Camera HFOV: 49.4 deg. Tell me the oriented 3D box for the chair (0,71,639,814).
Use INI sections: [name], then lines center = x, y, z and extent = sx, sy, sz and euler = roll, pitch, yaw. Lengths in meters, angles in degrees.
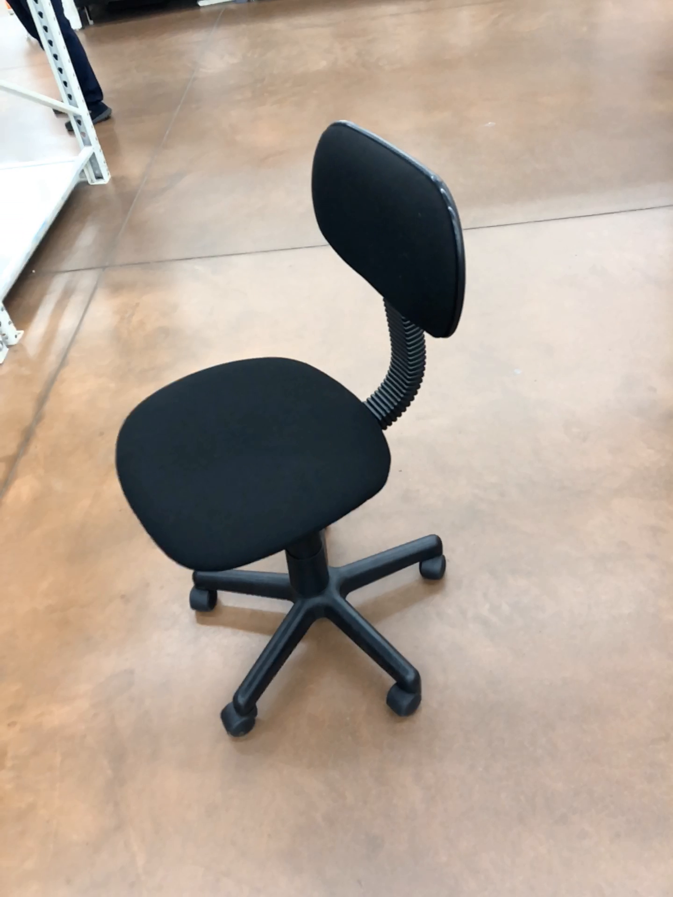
[chair]
center = -0.070, -0.034, 1.198
extent = 0.660, 0.797, 0.672
euler = -23, 44, -14
